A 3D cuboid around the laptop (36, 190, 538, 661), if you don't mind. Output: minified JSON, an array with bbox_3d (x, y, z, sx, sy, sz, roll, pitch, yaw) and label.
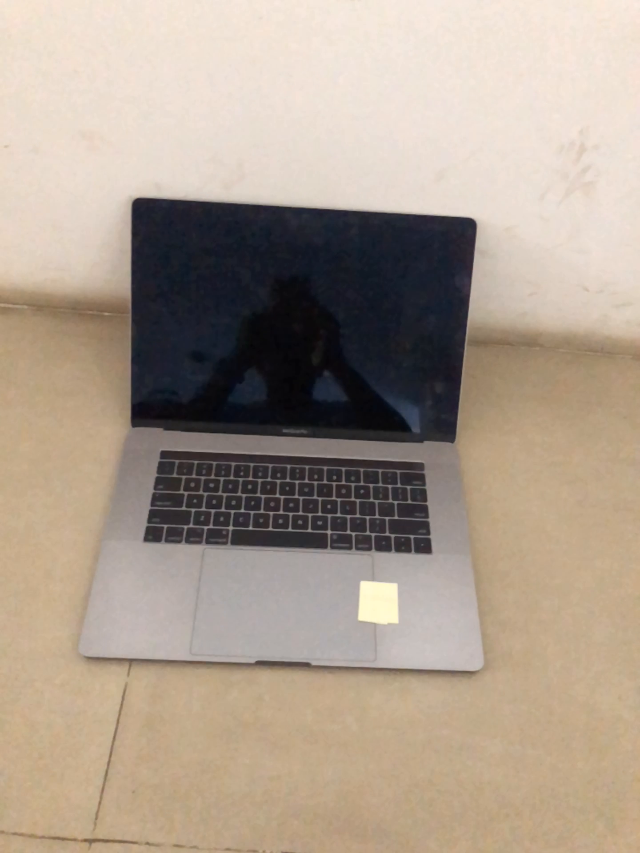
[{"bbox_3d":[-0.021,-0.015,0.635,0.329,0.163,0.382,3,54,-2],"label":"laptop"}]
